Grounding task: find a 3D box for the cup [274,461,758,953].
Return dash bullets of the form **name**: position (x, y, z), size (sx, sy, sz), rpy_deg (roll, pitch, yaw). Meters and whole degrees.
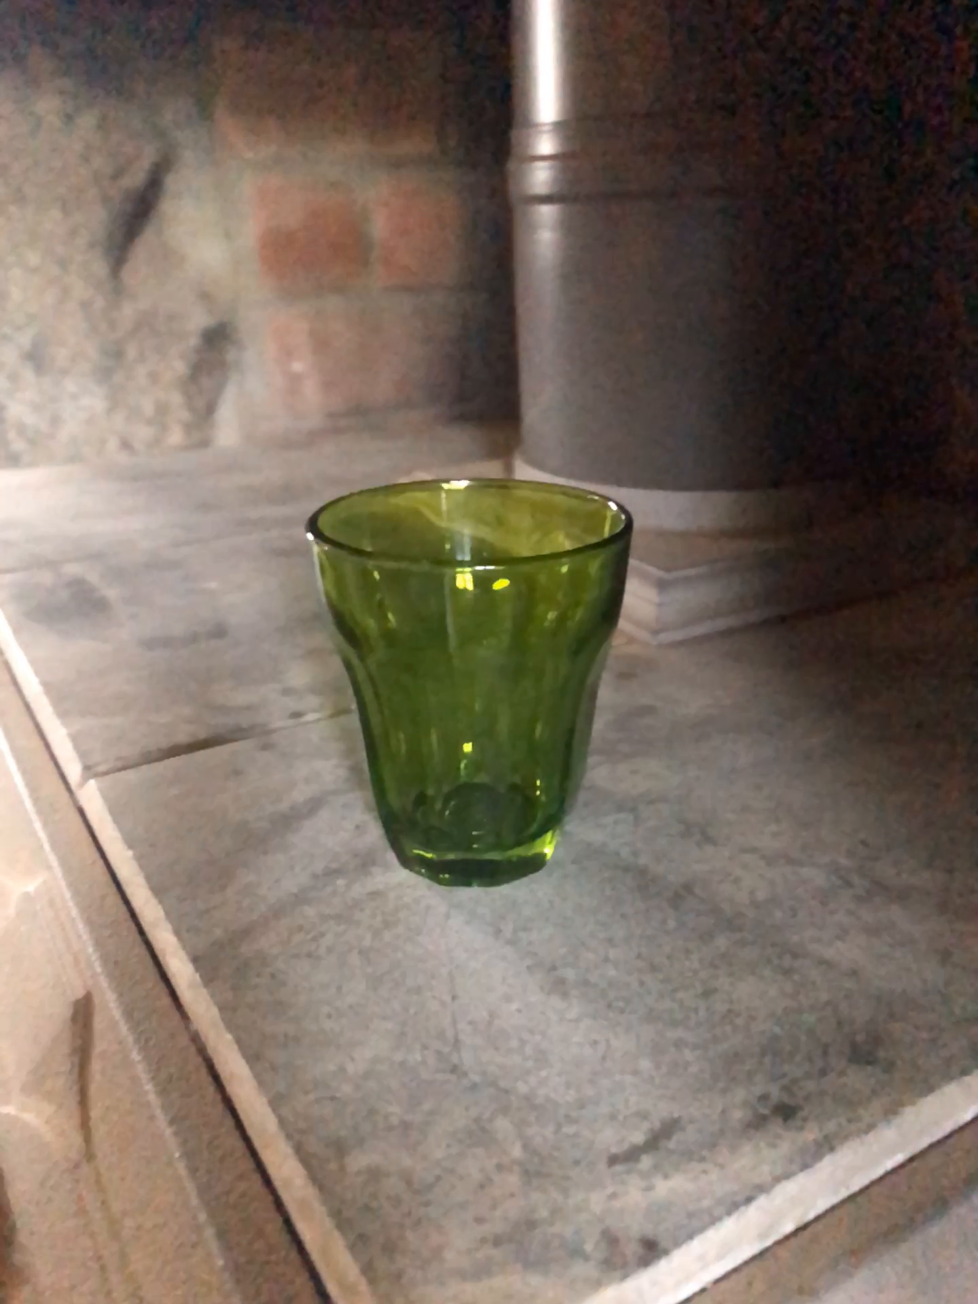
- **cup**: position (0.004, 0.005, 0.263), size (0.080, 0.080, 0.080), rpy_deg (-1, 21, 0)
